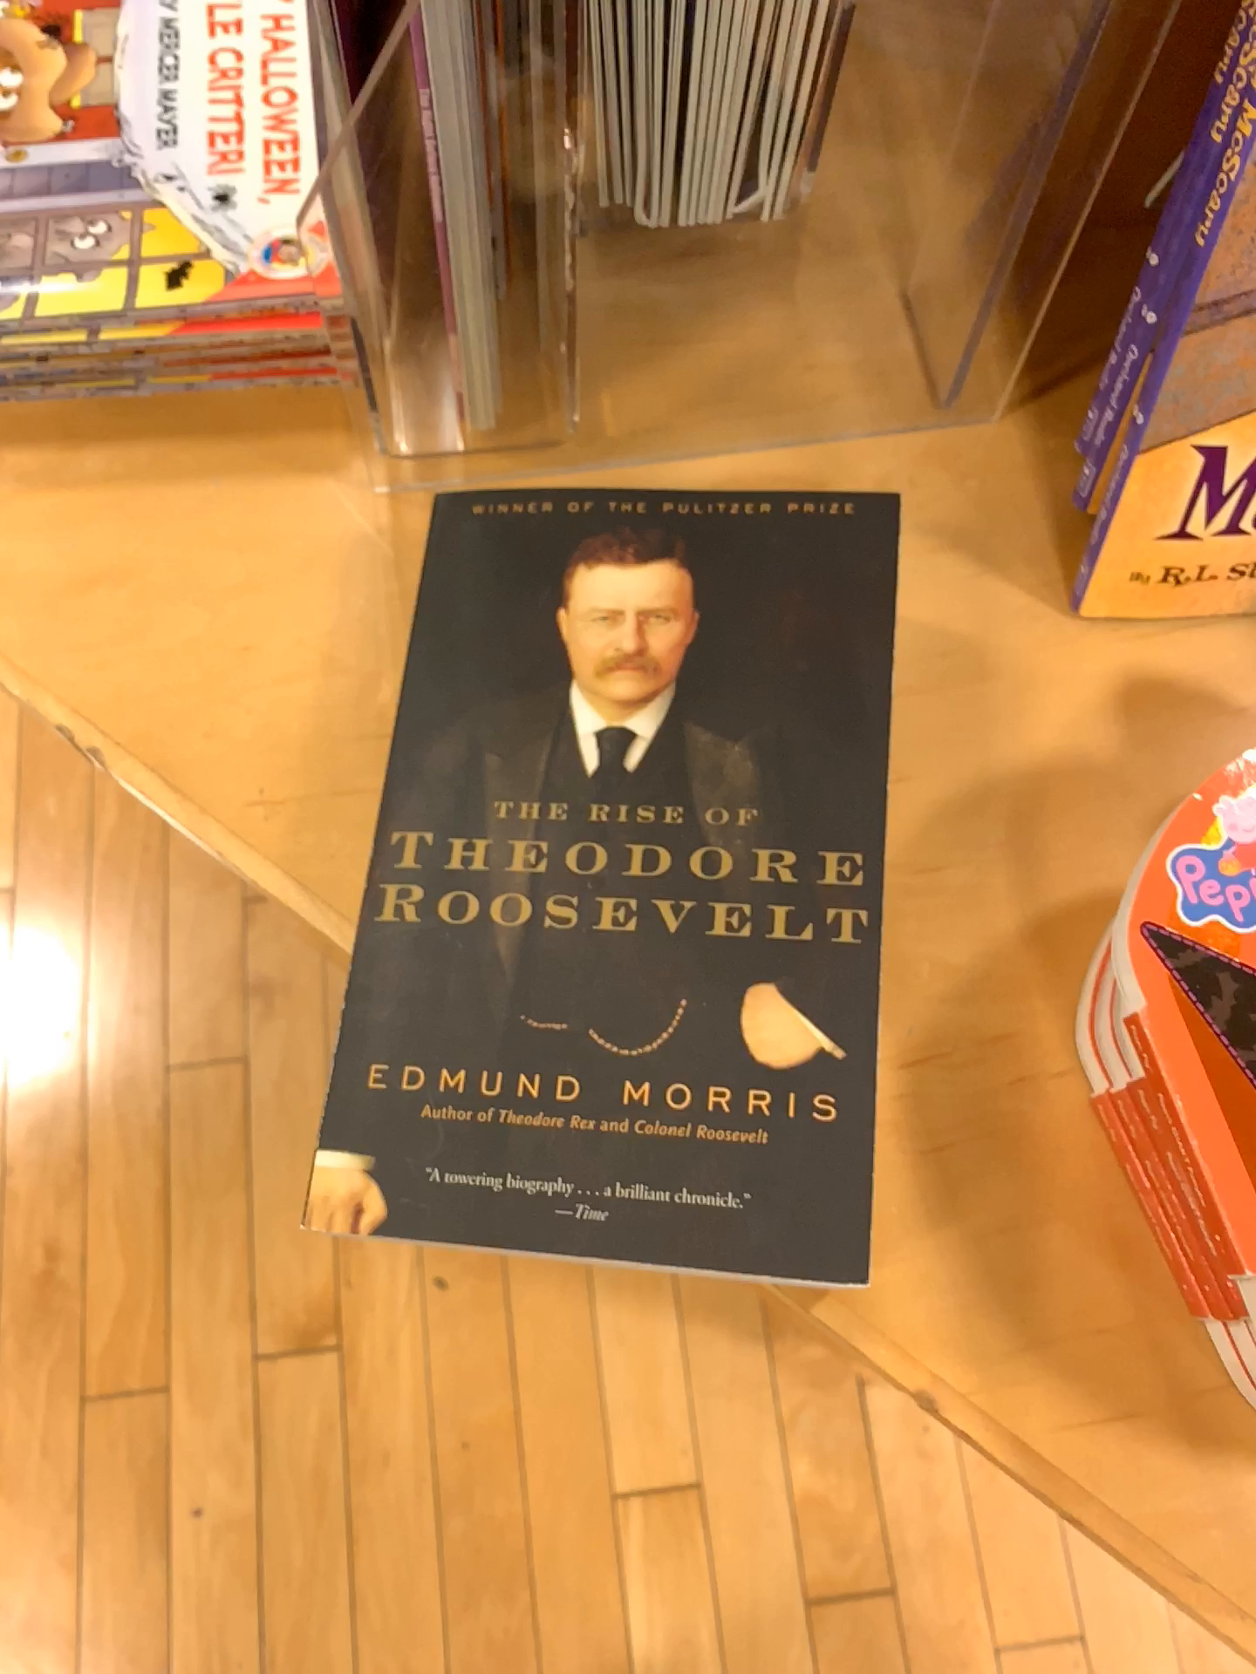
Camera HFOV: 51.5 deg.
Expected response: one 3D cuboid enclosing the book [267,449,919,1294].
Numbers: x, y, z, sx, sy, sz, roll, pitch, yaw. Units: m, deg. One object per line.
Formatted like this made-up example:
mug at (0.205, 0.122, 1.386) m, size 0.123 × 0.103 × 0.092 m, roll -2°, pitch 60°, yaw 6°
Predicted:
book at (-0.001, 0.008, 0.337) m, size 0.130 × 0.066 × 0.195 m, roll 6°, pitch 70°, yaw 2°
